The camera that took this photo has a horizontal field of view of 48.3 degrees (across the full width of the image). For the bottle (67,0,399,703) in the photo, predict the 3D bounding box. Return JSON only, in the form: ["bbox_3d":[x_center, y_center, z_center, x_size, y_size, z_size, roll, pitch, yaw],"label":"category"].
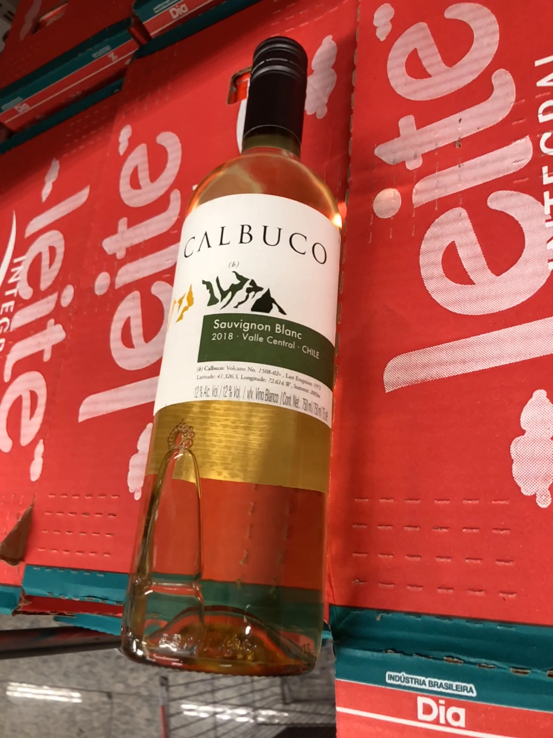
[{"bbox_3d":[-0.006,-0.034,0.260,0.090,0.100,0.290,4,72,-2],"label":"bottle"}]
